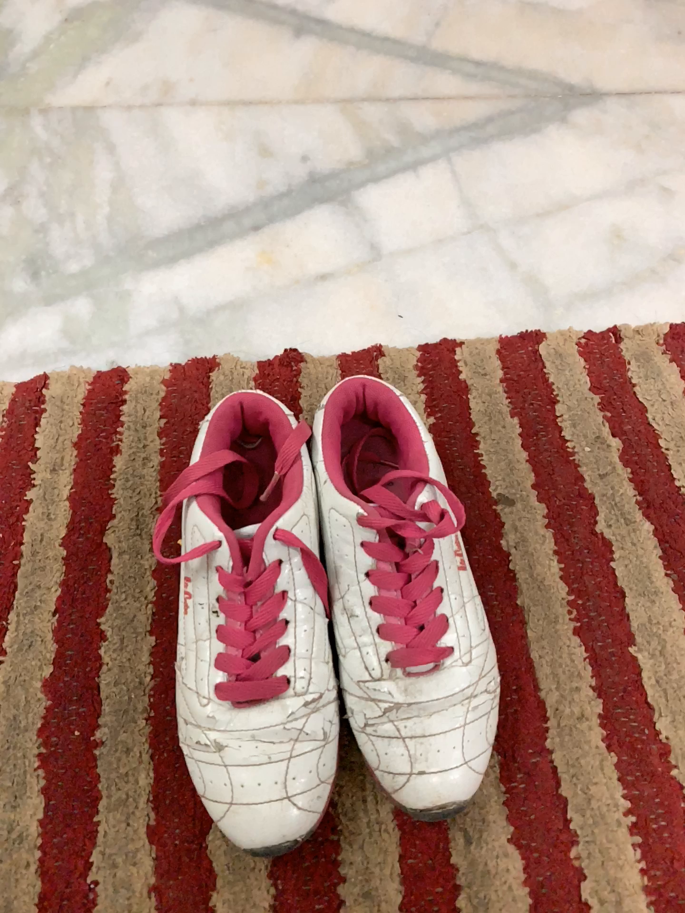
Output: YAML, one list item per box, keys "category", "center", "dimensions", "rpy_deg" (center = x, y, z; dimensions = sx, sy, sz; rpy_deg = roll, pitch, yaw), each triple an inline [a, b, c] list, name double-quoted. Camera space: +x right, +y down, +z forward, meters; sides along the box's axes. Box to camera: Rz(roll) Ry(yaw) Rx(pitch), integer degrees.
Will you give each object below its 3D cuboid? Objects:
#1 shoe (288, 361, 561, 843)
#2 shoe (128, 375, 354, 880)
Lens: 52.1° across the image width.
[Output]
- category: "shoe"
  center: [0.031, 0.077, 0.400]
  dimensions: [0.100, 0.099, 0.241]
  rpy_deg: [-6, 60, -2]
- category: "shoe"
  center: [-0.053, 0.086, 0.386]
  dimensions: [0.090, 0.099, 0.241]
  rpy_deg: [-6, 60, -2]
